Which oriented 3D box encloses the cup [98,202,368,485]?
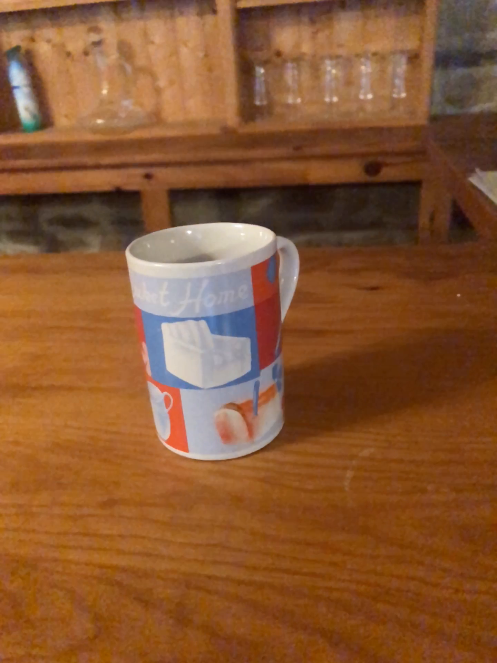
[{"bbox_3d":[-0.001,-0.004,0.293,0.080,0.099,0.112,17,31,36],"label":"cup"}]
